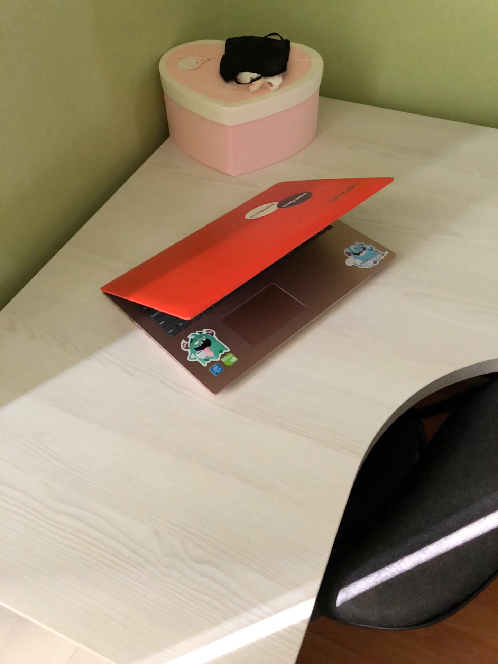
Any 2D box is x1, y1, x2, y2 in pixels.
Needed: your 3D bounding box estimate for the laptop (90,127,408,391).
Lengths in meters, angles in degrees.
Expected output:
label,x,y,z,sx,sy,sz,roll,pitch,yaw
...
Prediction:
label,x,y,z,sx,sy,sz,roll,pitch,yaw
laptop,0.009,-0.126,0.780,0.367,0.112,0.232,-36,59,-26
